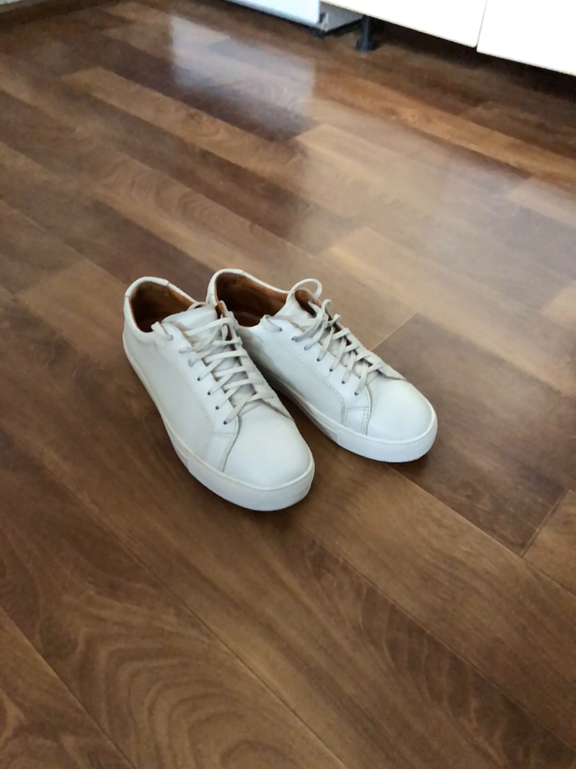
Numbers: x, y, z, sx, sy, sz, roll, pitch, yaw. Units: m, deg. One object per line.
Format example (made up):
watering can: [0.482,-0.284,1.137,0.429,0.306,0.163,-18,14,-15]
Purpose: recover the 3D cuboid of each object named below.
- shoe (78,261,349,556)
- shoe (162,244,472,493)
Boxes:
shoe: [-0.079,0.007,0.596,0.110,0.089,0.281,-27,53,-26]
shoe: [0.020,-0.027,0.627,0.281,0.089,0.111,29,52,24]
